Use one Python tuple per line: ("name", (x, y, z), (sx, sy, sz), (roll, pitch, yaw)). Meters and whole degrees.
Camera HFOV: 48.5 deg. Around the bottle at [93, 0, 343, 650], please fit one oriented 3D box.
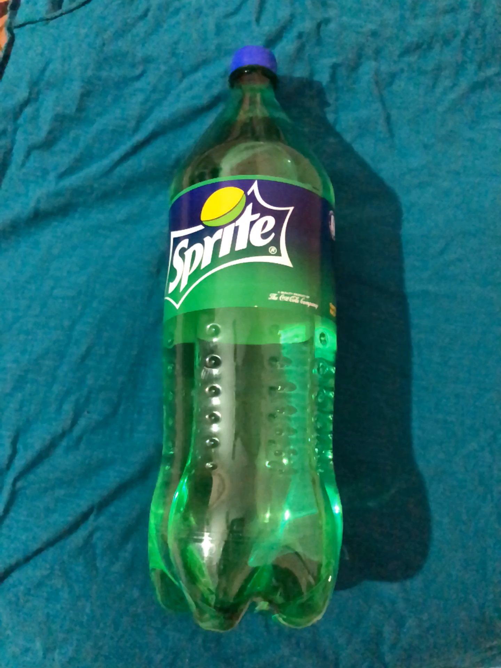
("bottle", (-0.009, -0.023, 0.307), (0.110, 0.070, 0.330), (-1, 79, 11))
